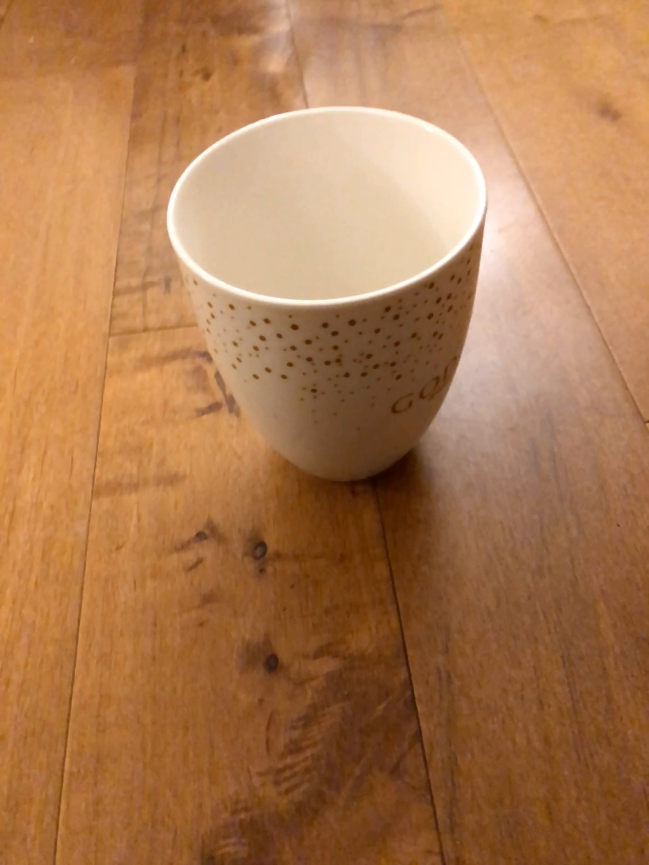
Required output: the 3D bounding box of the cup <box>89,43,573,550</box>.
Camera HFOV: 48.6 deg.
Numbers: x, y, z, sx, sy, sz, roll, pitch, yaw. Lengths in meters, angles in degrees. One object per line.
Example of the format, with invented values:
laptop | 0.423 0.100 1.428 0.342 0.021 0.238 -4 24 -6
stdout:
cup | 0.012 -0.058 0.284 0.110 0.109 0.141 20 57 19
